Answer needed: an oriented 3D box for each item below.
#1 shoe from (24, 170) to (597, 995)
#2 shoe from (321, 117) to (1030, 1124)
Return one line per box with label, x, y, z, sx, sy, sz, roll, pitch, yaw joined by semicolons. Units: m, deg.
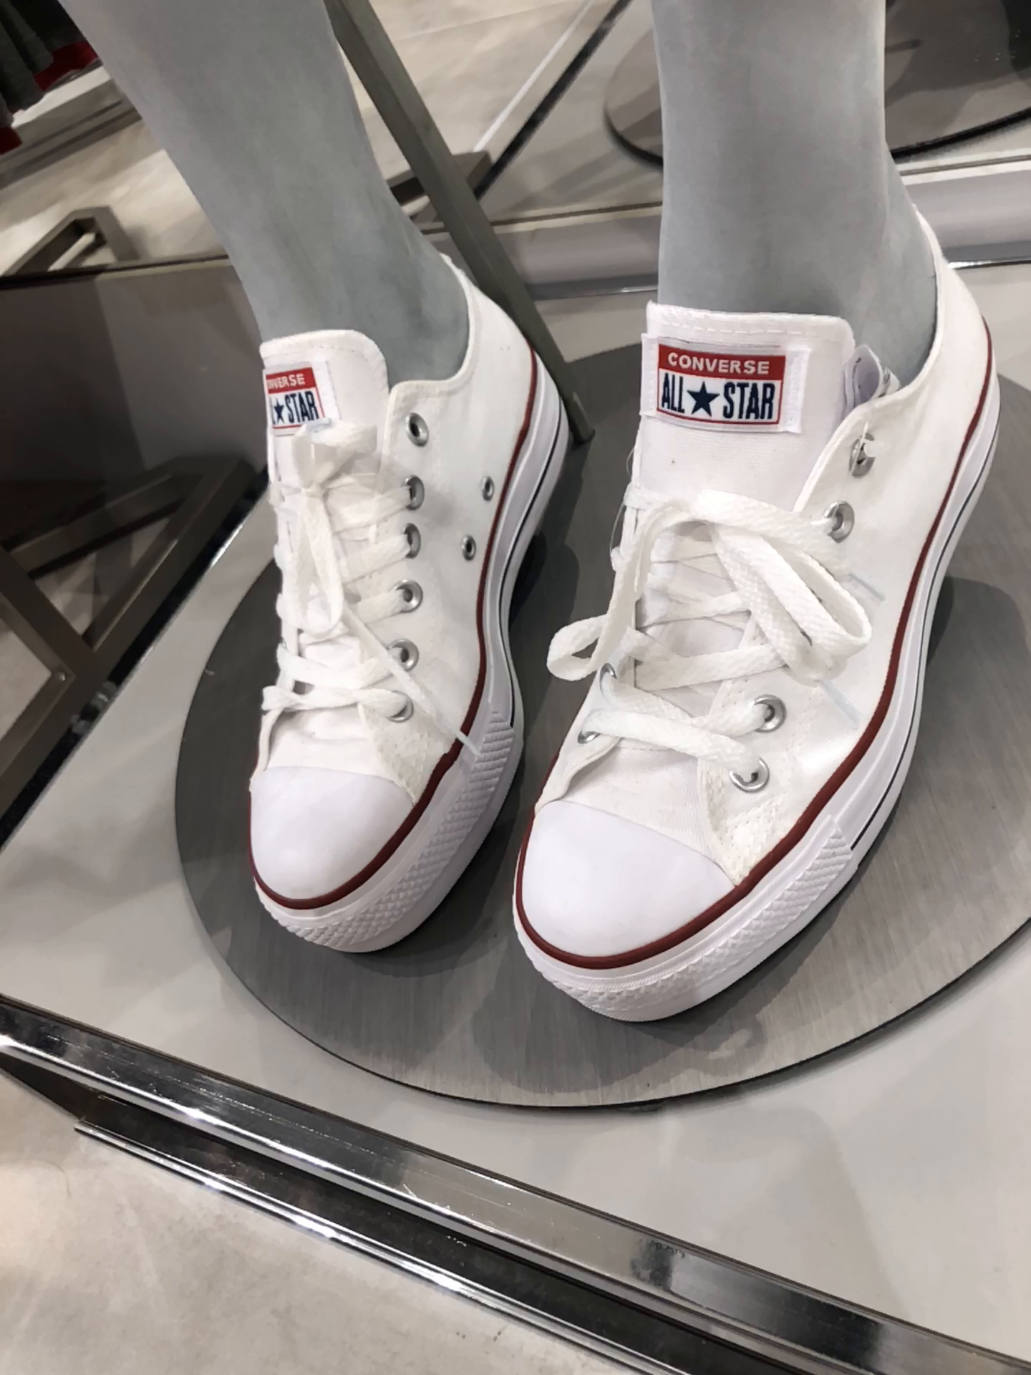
shoe;-0.057;-0.042;0.411;0.100;0.089;0.271;2;65;26
shoe;0.068;-0.031;0.355;0.110;0.089;0.281;15;72;35
